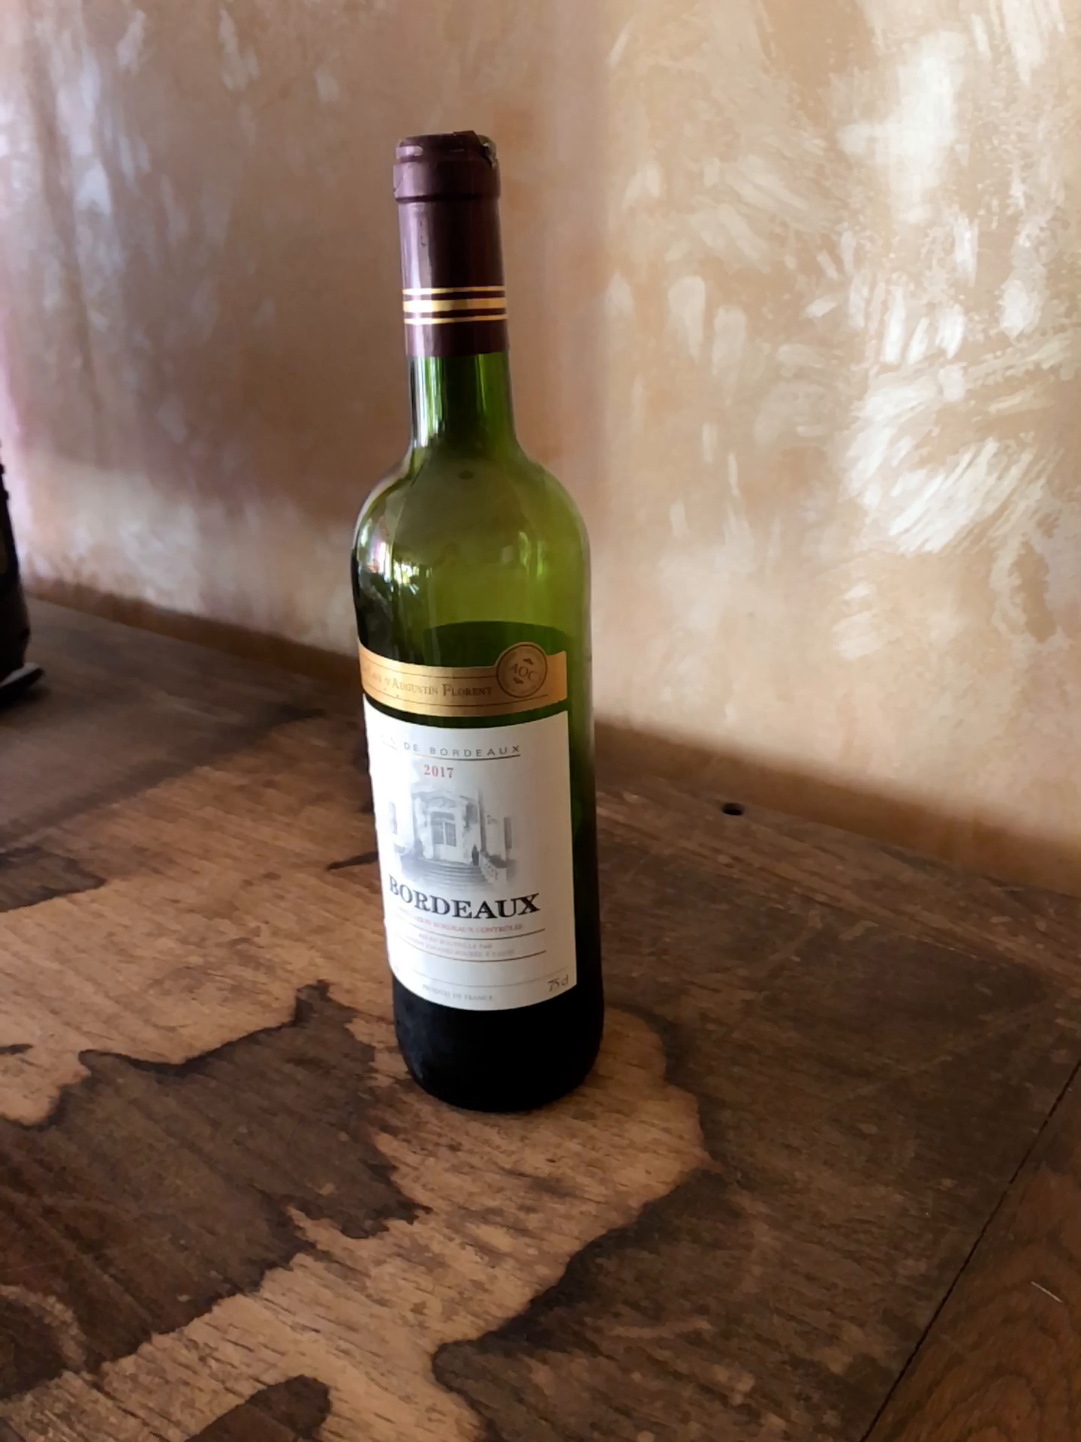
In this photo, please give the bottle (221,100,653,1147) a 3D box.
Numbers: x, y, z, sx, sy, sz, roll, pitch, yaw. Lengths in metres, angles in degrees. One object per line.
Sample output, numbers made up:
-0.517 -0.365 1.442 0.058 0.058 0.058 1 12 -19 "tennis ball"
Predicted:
-0.020 -0.021 0.361 0.090 0.289 0.080 5 23 14 "bottle"
